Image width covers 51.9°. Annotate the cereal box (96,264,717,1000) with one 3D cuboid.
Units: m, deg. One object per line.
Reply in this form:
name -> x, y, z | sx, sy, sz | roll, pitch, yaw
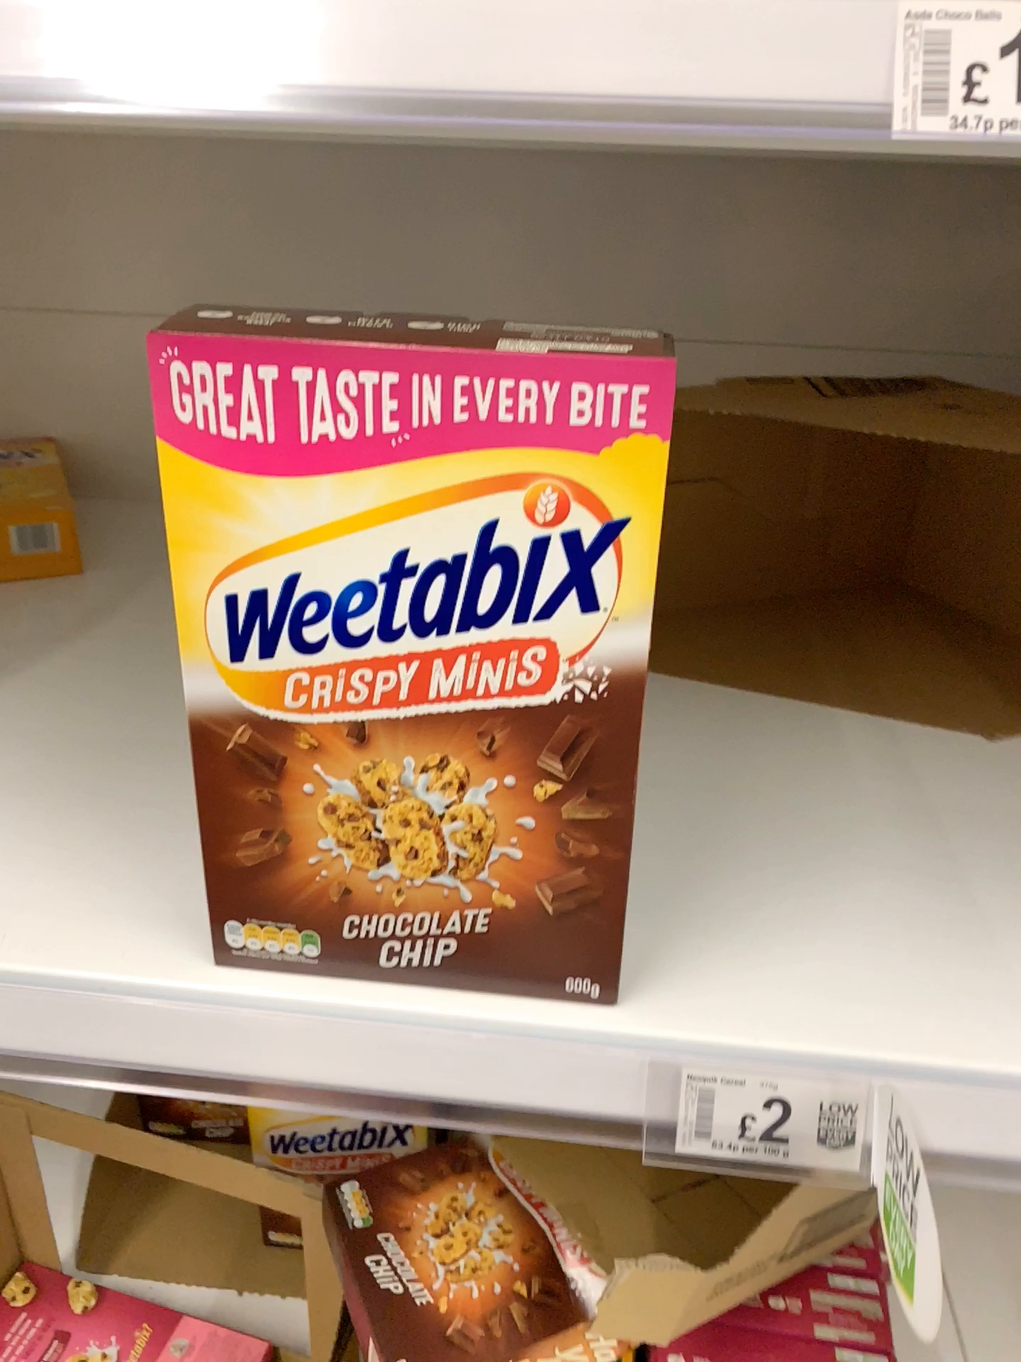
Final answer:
cereal box -> -0.038, -0.013, 0.441 | 0.210, 0.287, 0.071 | 5, 26, 5
